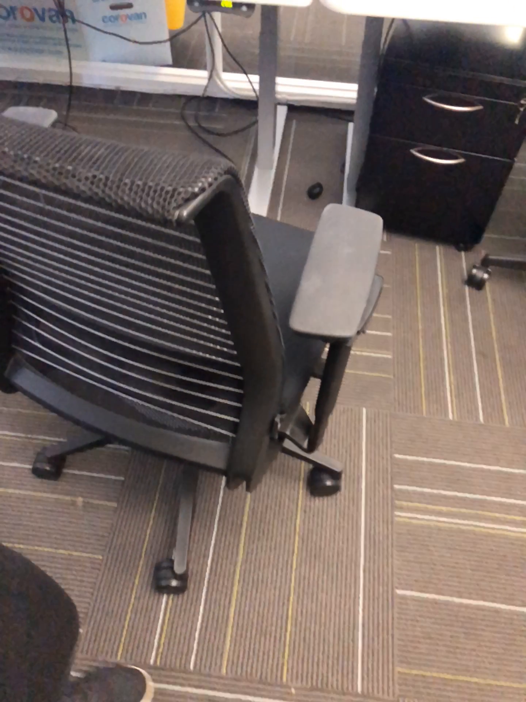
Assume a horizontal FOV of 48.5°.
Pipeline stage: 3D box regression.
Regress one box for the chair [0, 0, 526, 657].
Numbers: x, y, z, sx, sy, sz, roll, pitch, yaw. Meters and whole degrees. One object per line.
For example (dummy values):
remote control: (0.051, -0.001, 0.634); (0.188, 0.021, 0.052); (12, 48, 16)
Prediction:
chair: (-0.170, -0.101, 0.925); (0.751, 0.997, 0.662); (18, 55, 12)
